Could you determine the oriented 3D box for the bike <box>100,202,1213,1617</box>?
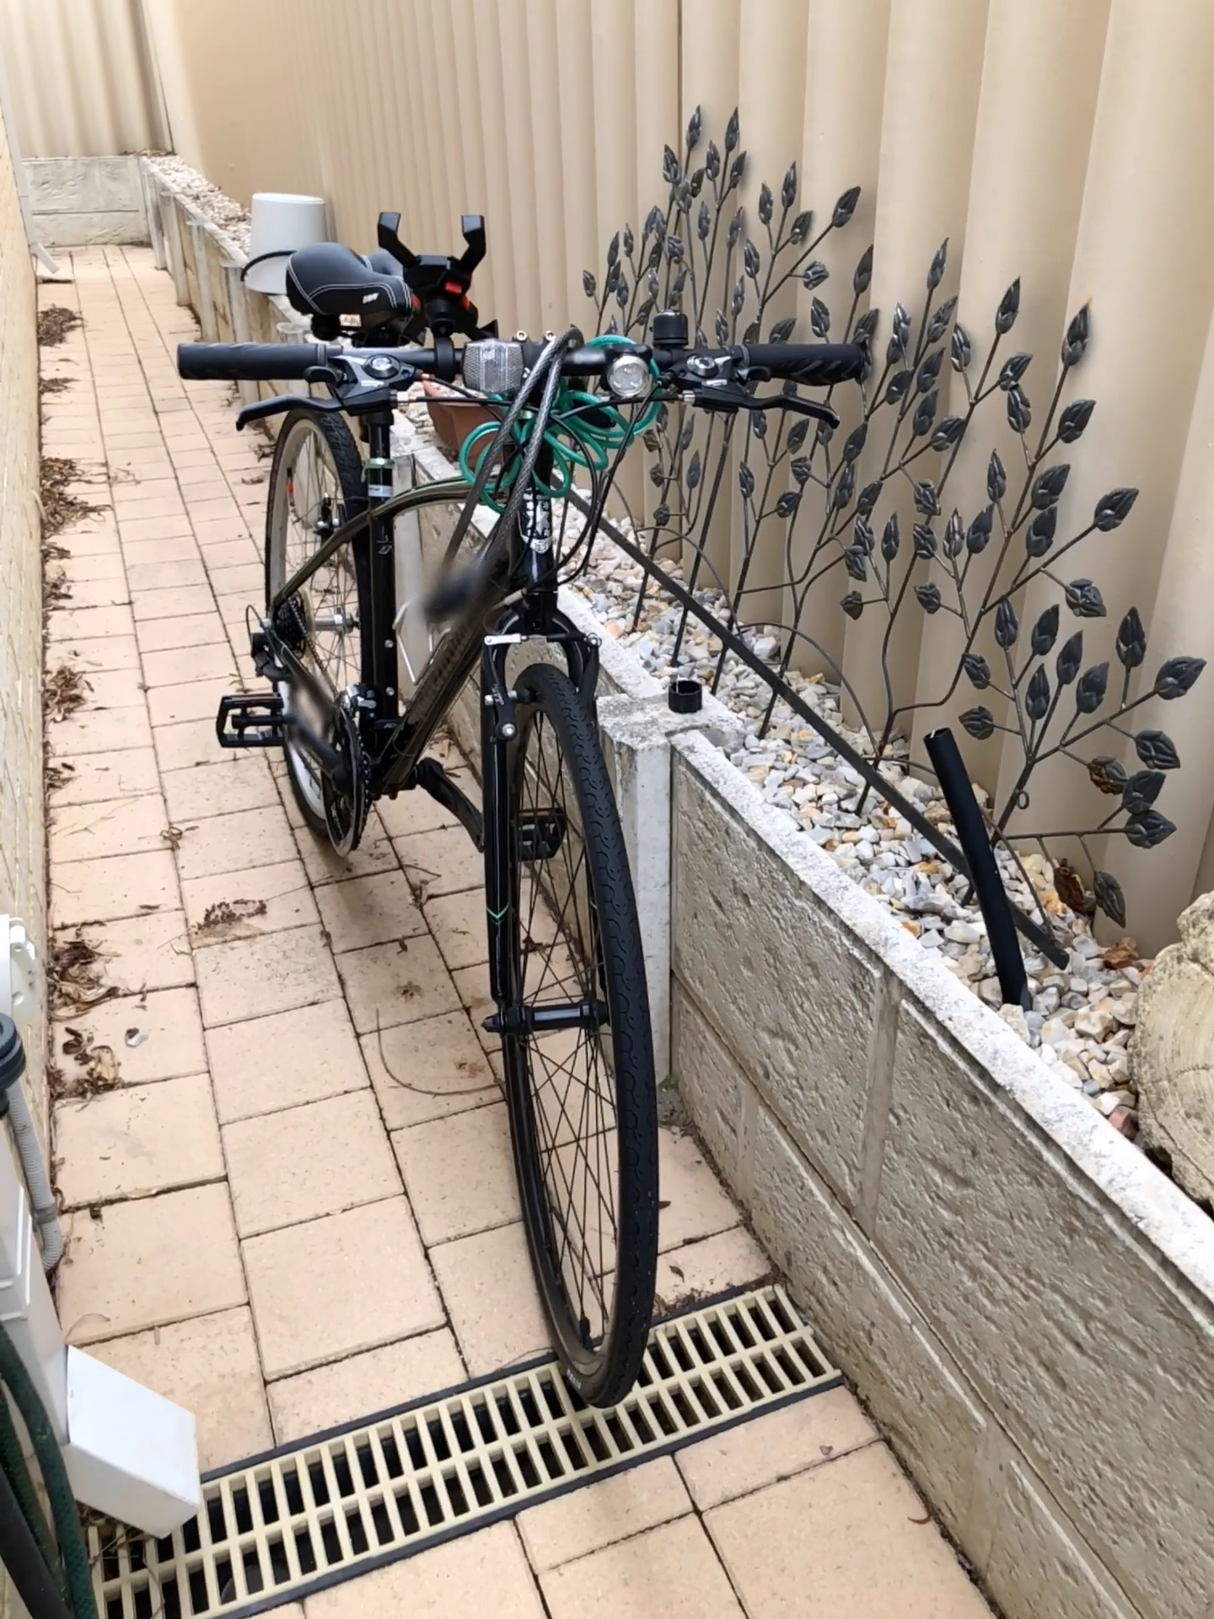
[{"bbox_3d":[-0.169,-0.189,1.631,0.638,0.859,1.706,-10,31,-18],"label":"bike"}]
